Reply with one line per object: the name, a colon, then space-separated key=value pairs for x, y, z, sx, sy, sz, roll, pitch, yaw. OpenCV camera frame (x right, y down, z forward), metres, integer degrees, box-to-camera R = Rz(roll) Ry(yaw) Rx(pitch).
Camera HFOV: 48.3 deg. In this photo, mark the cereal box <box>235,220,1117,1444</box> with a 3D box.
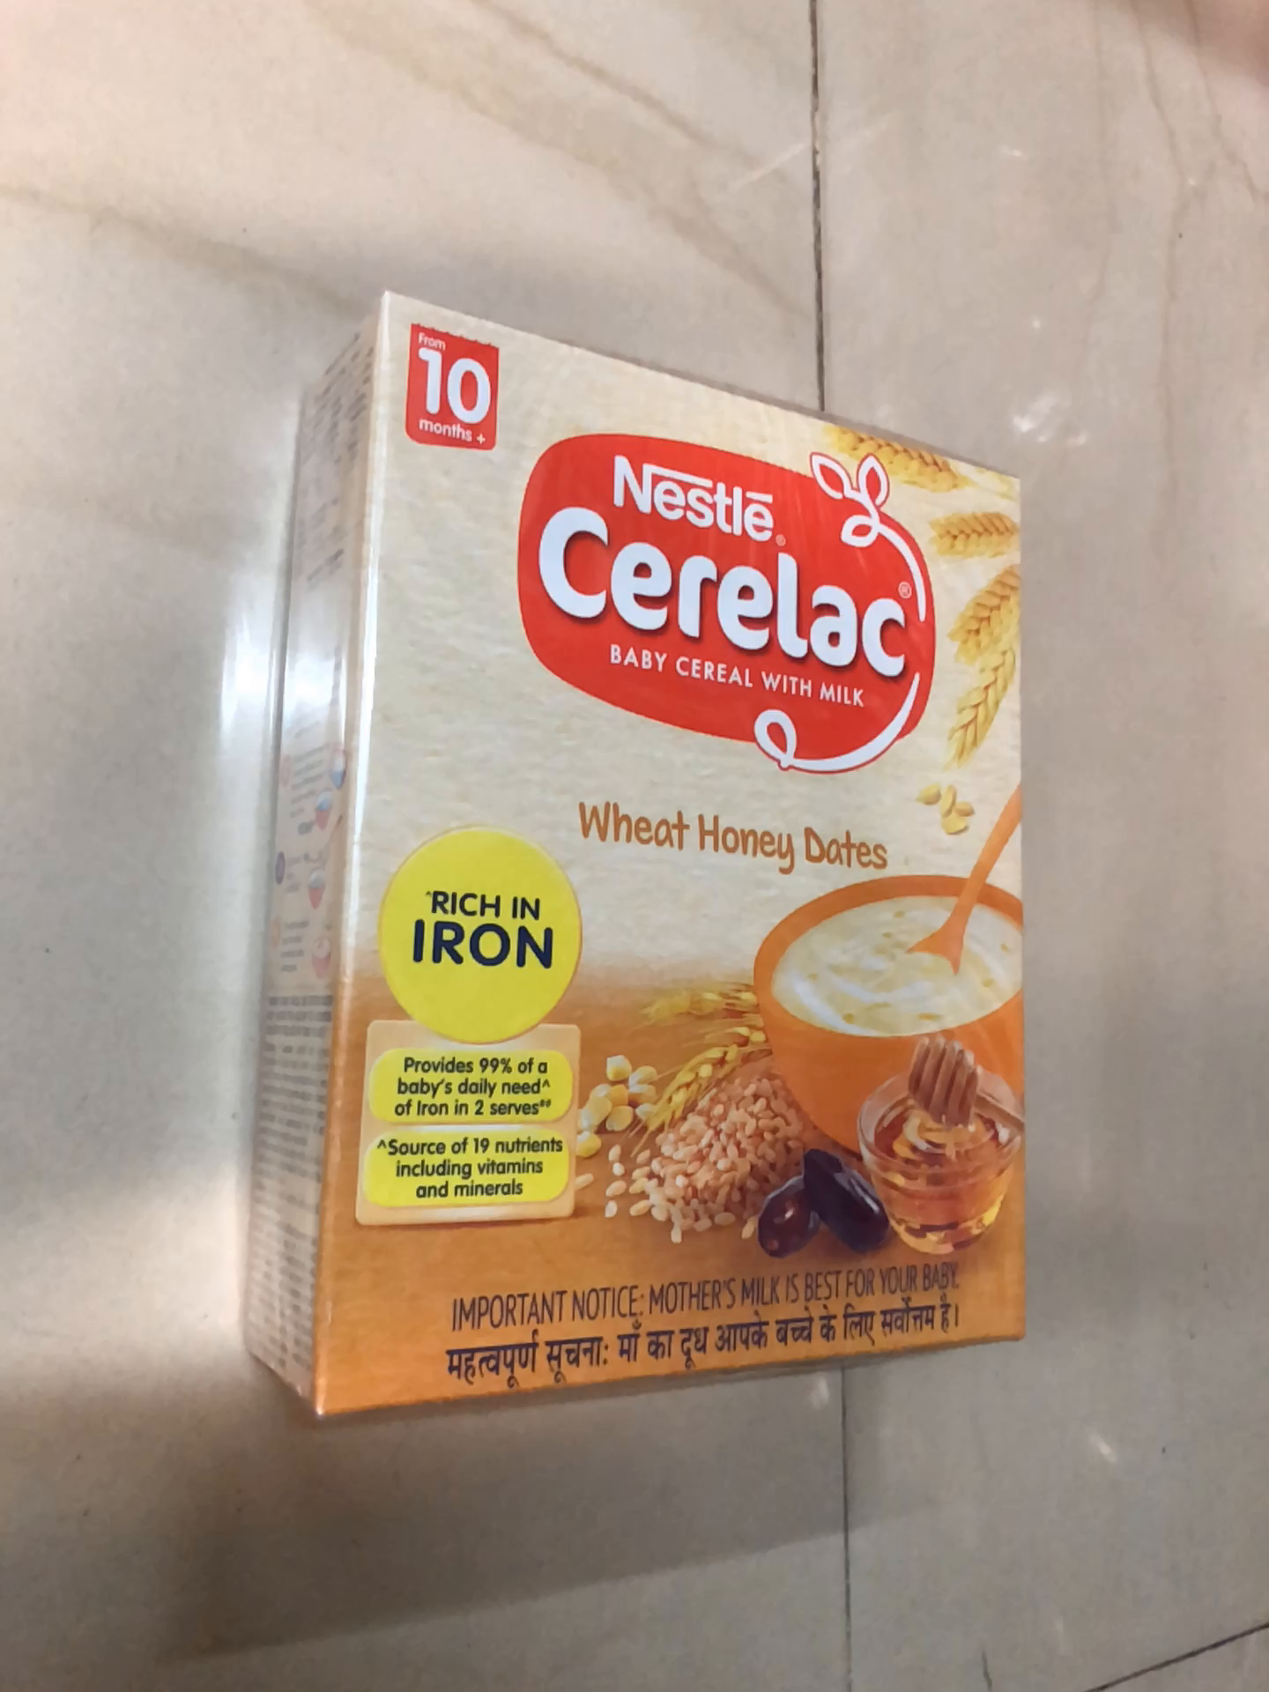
cereal box: x=0.014 y=0.002 z=0.282 sx=0.160 sy=0.060 sz=0.190 roll=6 pitch=80 yaw=-30
